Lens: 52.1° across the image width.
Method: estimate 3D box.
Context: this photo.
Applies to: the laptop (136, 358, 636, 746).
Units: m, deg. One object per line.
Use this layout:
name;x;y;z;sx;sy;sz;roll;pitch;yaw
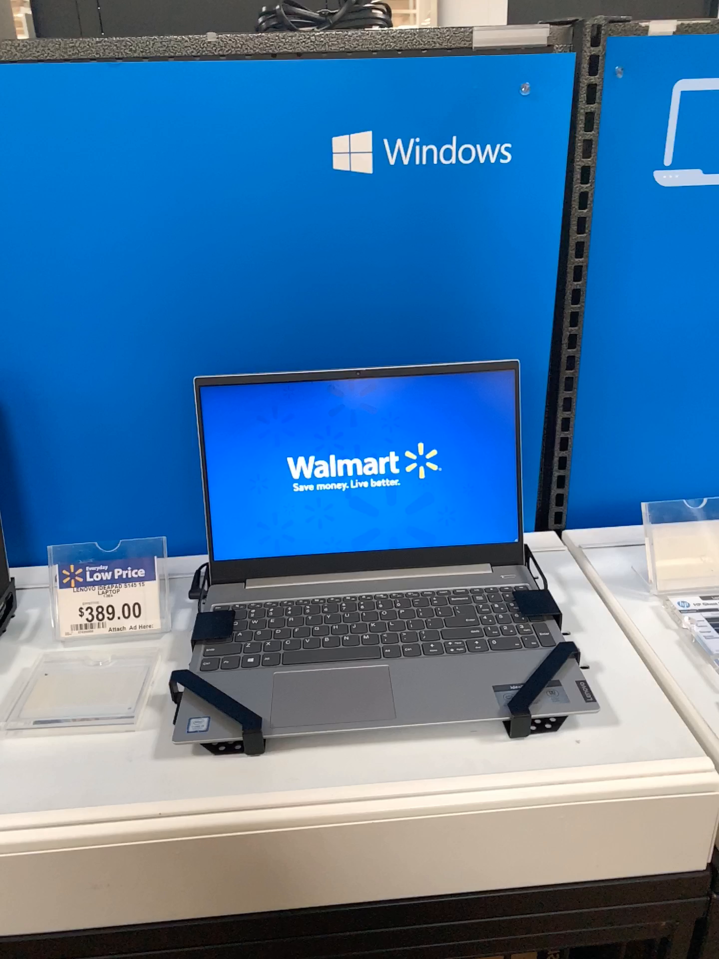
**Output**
laptop;0.018;0.041;0.693;0.350;0.217;0.299;-4;24;-2
